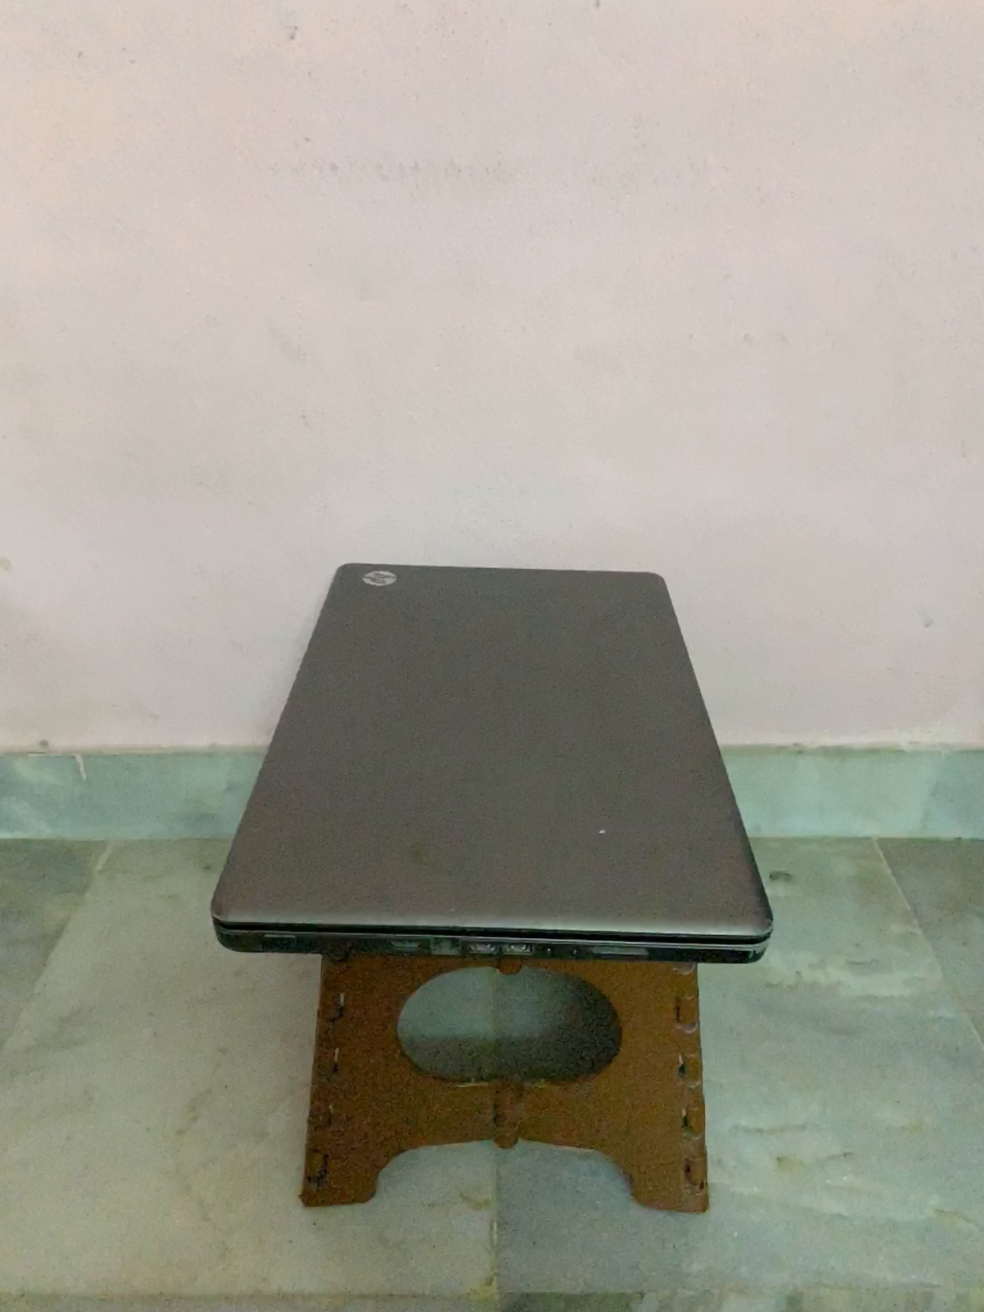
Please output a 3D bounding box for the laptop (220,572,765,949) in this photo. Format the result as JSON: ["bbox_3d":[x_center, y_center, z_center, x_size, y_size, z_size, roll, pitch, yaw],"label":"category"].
[{"bbox_3d":[0.004,0.032,0.613,0.242,0.003,0.381,2,29,0],"label":"laptop"}]
